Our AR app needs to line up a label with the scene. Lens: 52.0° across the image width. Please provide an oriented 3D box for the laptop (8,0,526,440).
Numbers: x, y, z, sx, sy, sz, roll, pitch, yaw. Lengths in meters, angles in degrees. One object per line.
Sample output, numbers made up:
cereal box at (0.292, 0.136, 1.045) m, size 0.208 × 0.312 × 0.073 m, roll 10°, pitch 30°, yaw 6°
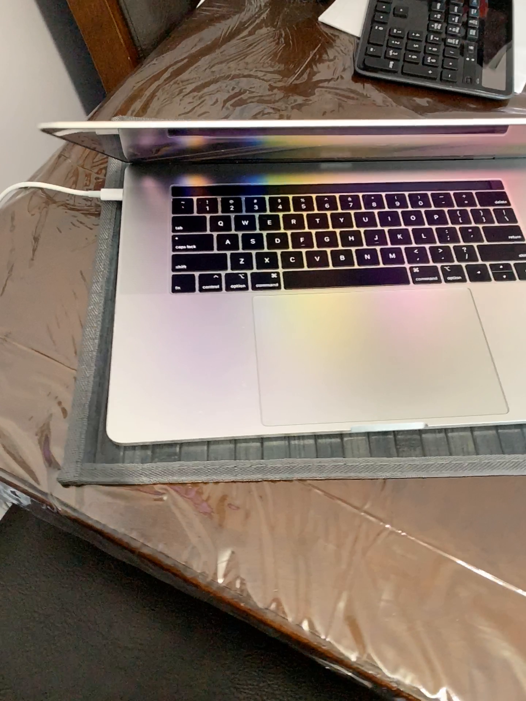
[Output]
laptop at (0.072, -0.095, 0.323) m, size 0.339 × 0.164 × 0.234 m, roll -2°, pitch 60°, yaw -5°
